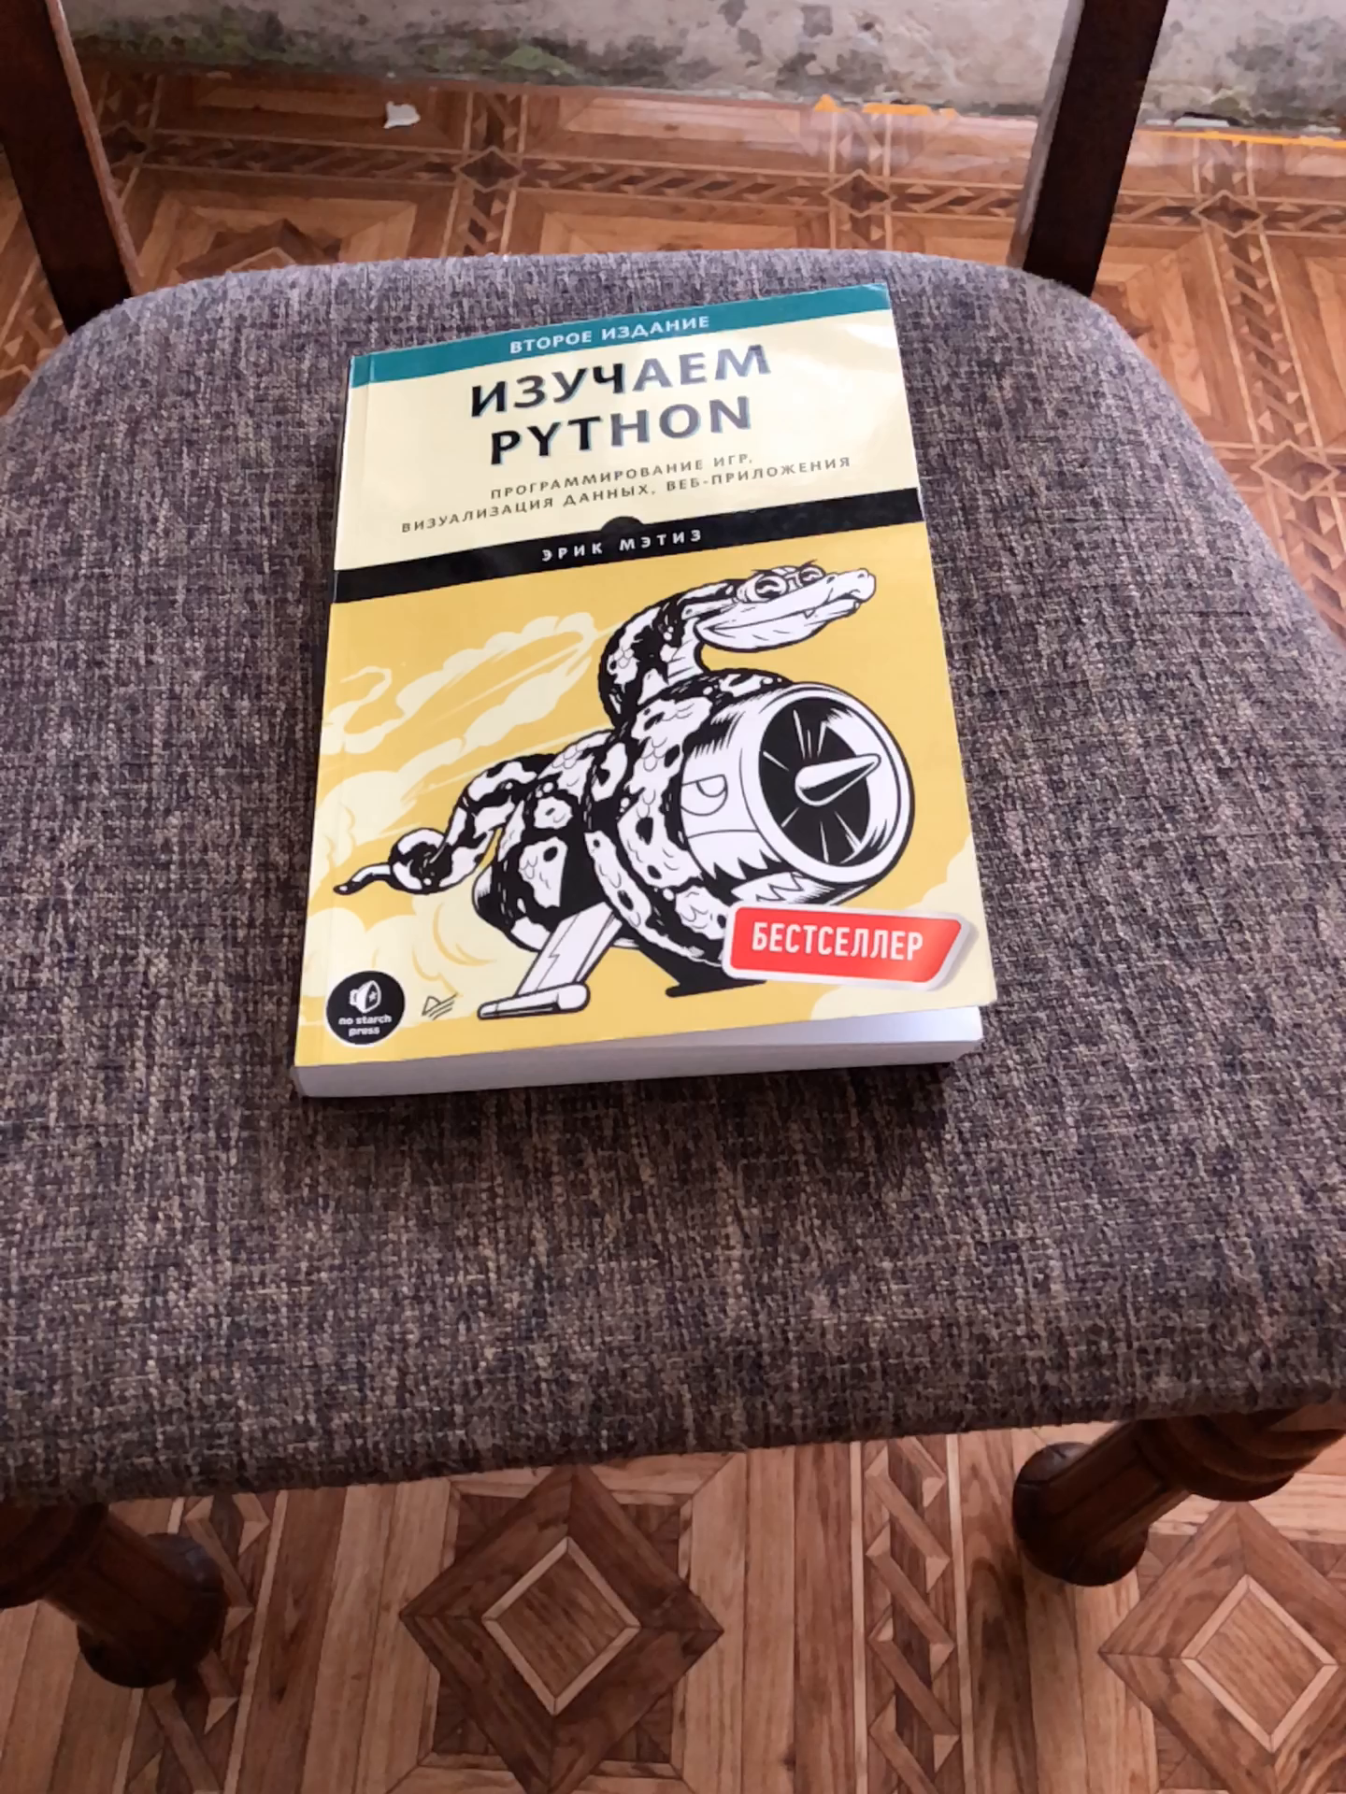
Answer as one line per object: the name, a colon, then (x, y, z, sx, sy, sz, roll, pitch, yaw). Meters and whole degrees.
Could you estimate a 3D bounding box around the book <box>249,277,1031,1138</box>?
book: (-0.010, -0.060, 0.390, 0.167, 0.040, 0.234, -5, 59, 5)
